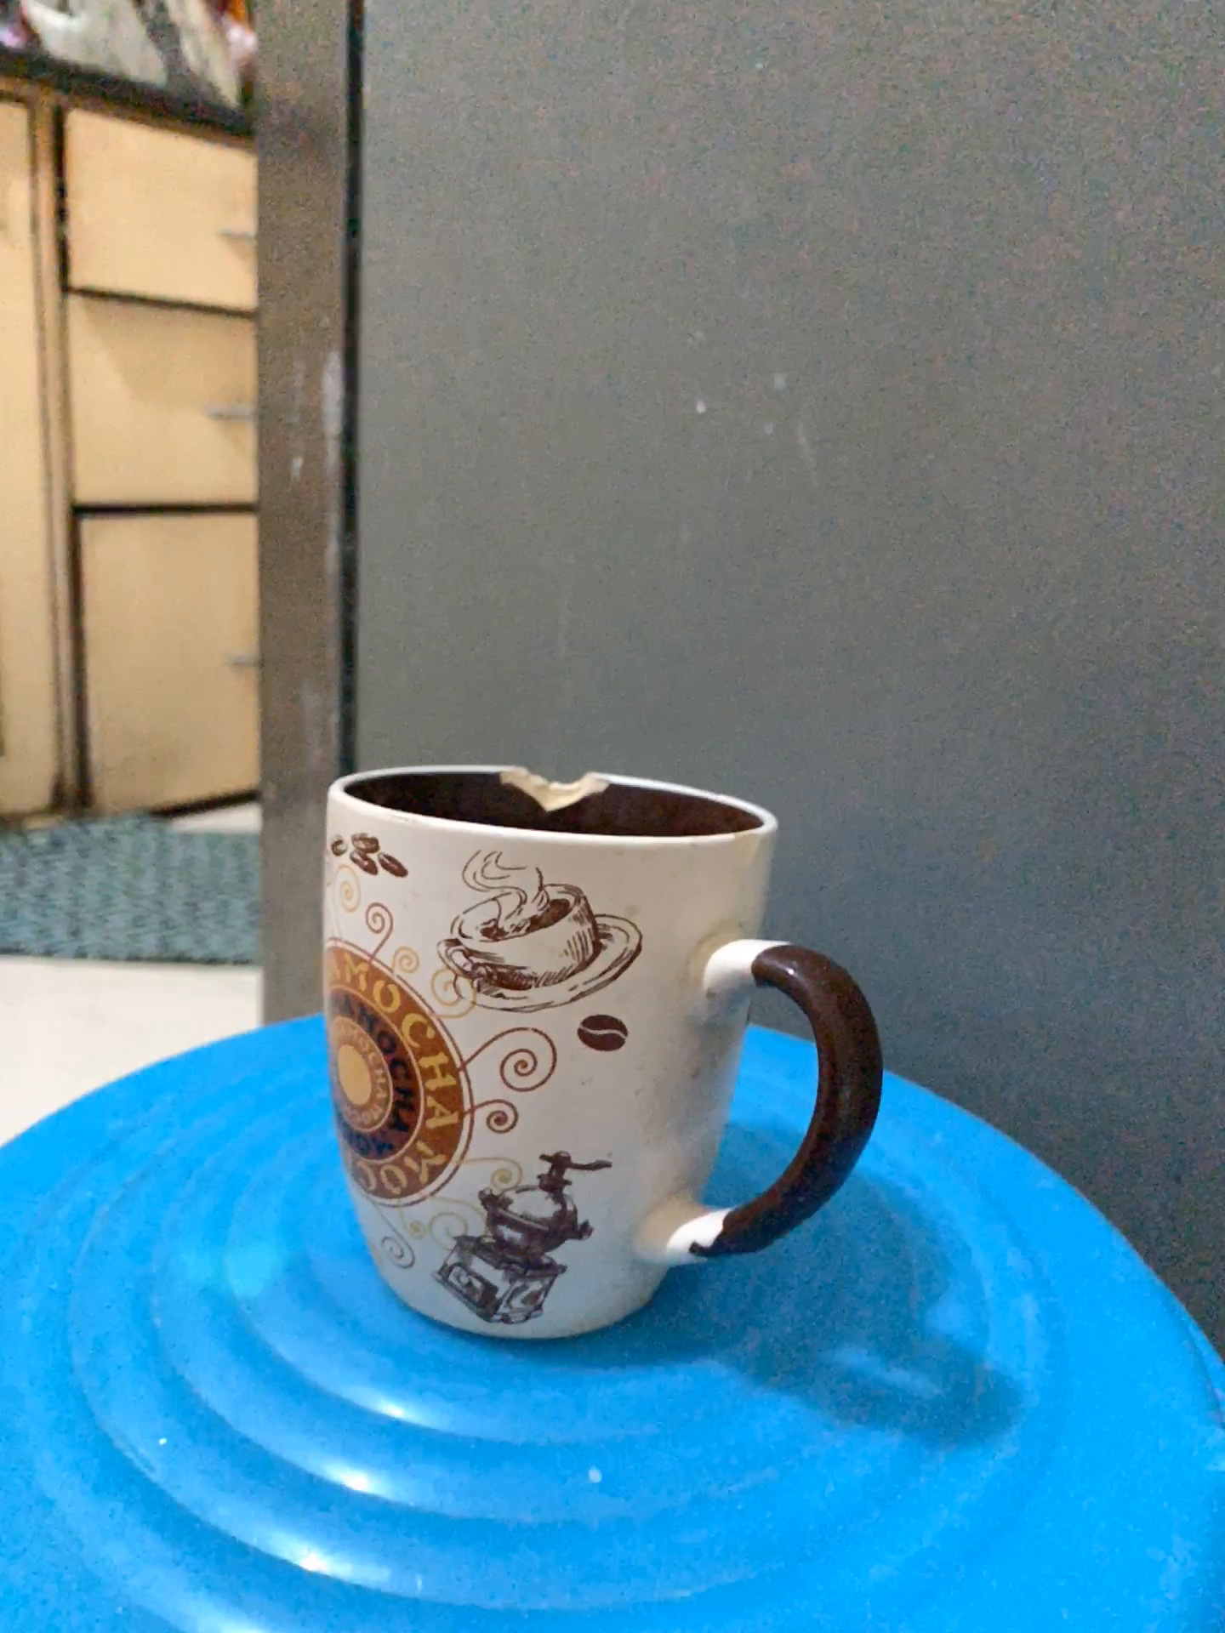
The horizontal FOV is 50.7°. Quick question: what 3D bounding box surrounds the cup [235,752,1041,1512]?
[{"bbox_3d":[-0.001,0.037,0.225,0.080,0.080,0.110,-3,13,-43],"label":"cup"}]
